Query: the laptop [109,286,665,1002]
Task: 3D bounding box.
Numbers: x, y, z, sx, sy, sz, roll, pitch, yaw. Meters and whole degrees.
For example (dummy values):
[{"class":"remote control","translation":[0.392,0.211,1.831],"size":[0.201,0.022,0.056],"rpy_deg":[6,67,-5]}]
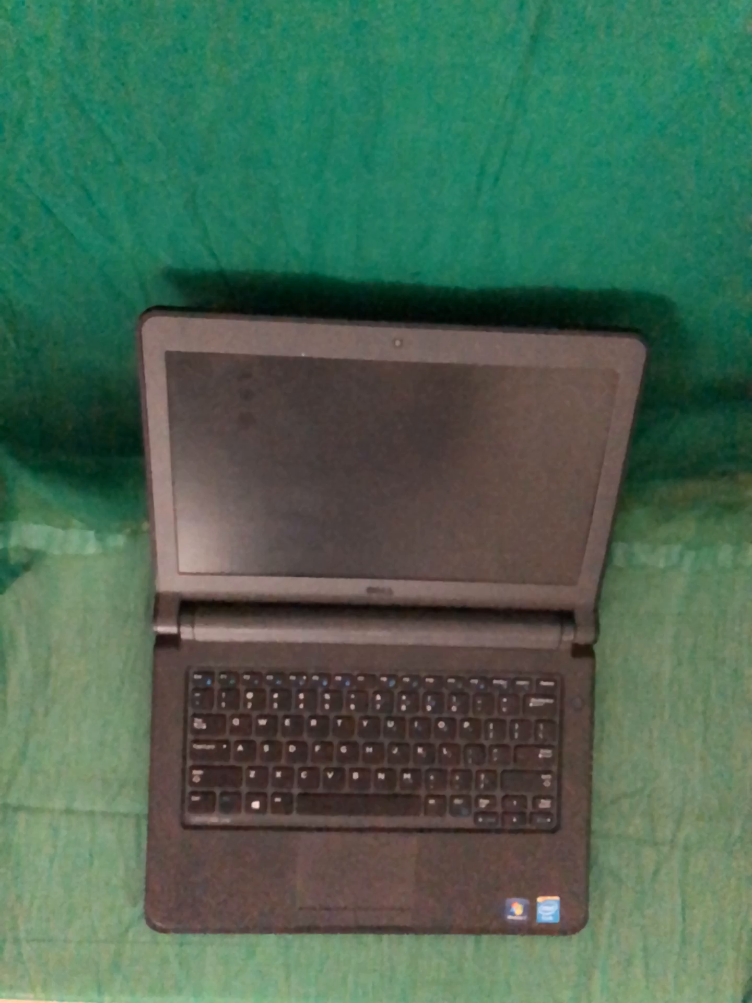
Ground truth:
[{"class":"laptop","translation":[0.004,0.094,0.538],"size":[0.311,0.096,0.419],"rpy_deg":[2,91,-3]}]
